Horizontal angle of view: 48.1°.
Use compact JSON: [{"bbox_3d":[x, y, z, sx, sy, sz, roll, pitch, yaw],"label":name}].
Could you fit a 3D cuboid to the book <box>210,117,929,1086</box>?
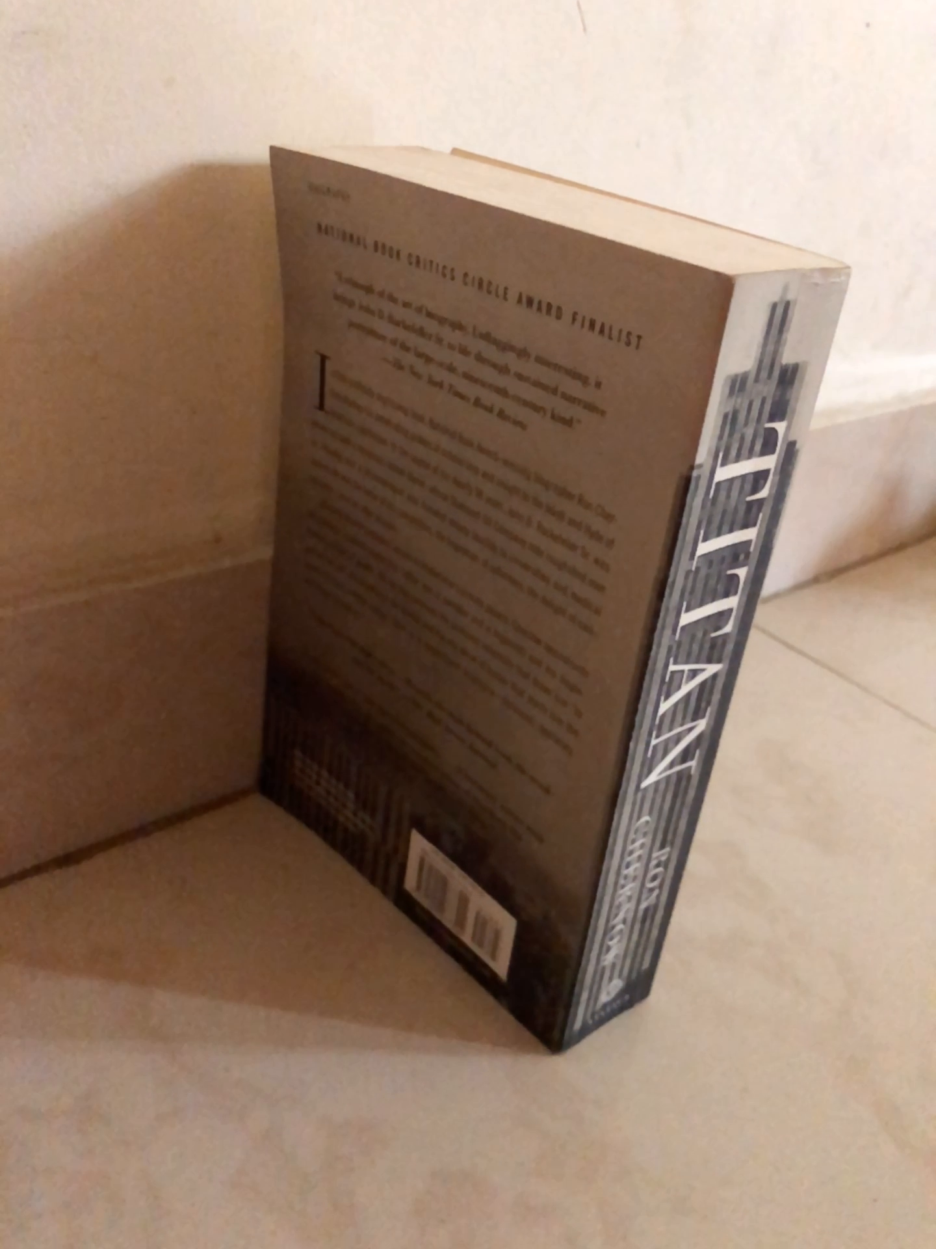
[{"bbox_3d":[-0.001,-0.017,0.327,0.060,0.229,0.200,-20,39,-38],"label":"book"}]
